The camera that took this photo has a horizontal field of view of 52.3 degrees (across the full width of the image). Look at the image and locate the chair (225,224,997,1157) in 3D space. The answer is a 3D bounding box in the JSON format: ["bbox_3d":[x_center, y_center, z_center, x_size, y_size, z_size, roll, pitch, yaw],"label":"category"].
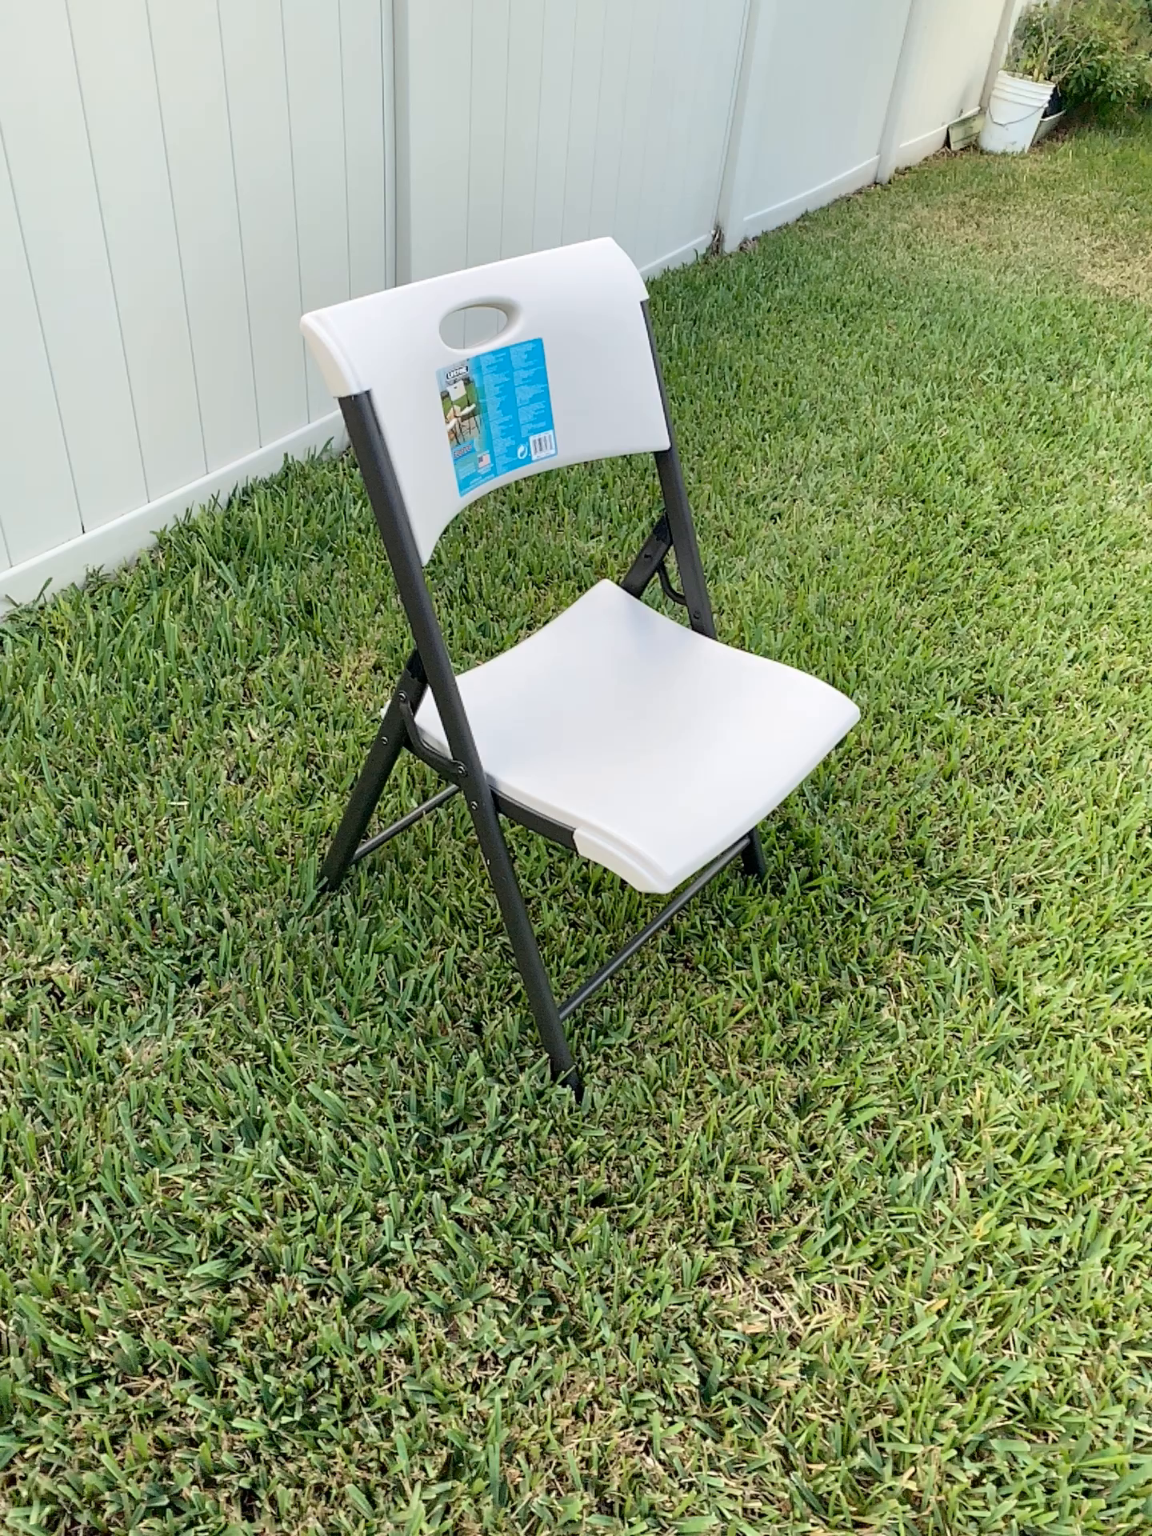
[{"bbox_3d":[0.020,-0.110,1.324,0.516,0.766,0.522,28,43,27],"label":"chair"}]
